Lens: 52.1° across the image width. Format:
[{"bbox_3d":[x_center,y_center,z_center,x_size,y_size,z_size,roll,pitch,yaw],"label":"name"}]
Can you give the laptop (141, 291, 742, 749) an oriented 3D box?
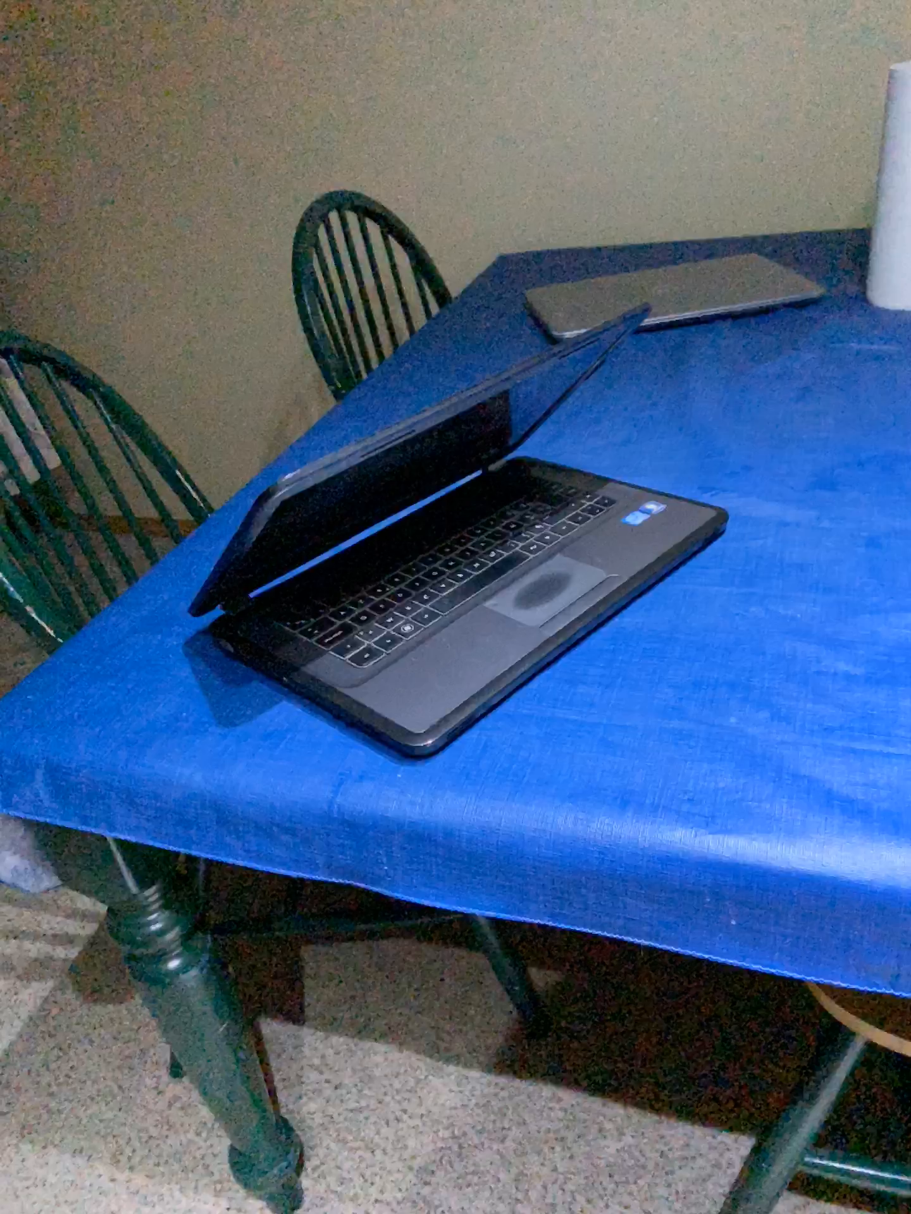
[{"bbox_3d":[0.009,-0.100,0.692,0.244,0.160,0.362,21,41,40],"label":"laptop"}]
